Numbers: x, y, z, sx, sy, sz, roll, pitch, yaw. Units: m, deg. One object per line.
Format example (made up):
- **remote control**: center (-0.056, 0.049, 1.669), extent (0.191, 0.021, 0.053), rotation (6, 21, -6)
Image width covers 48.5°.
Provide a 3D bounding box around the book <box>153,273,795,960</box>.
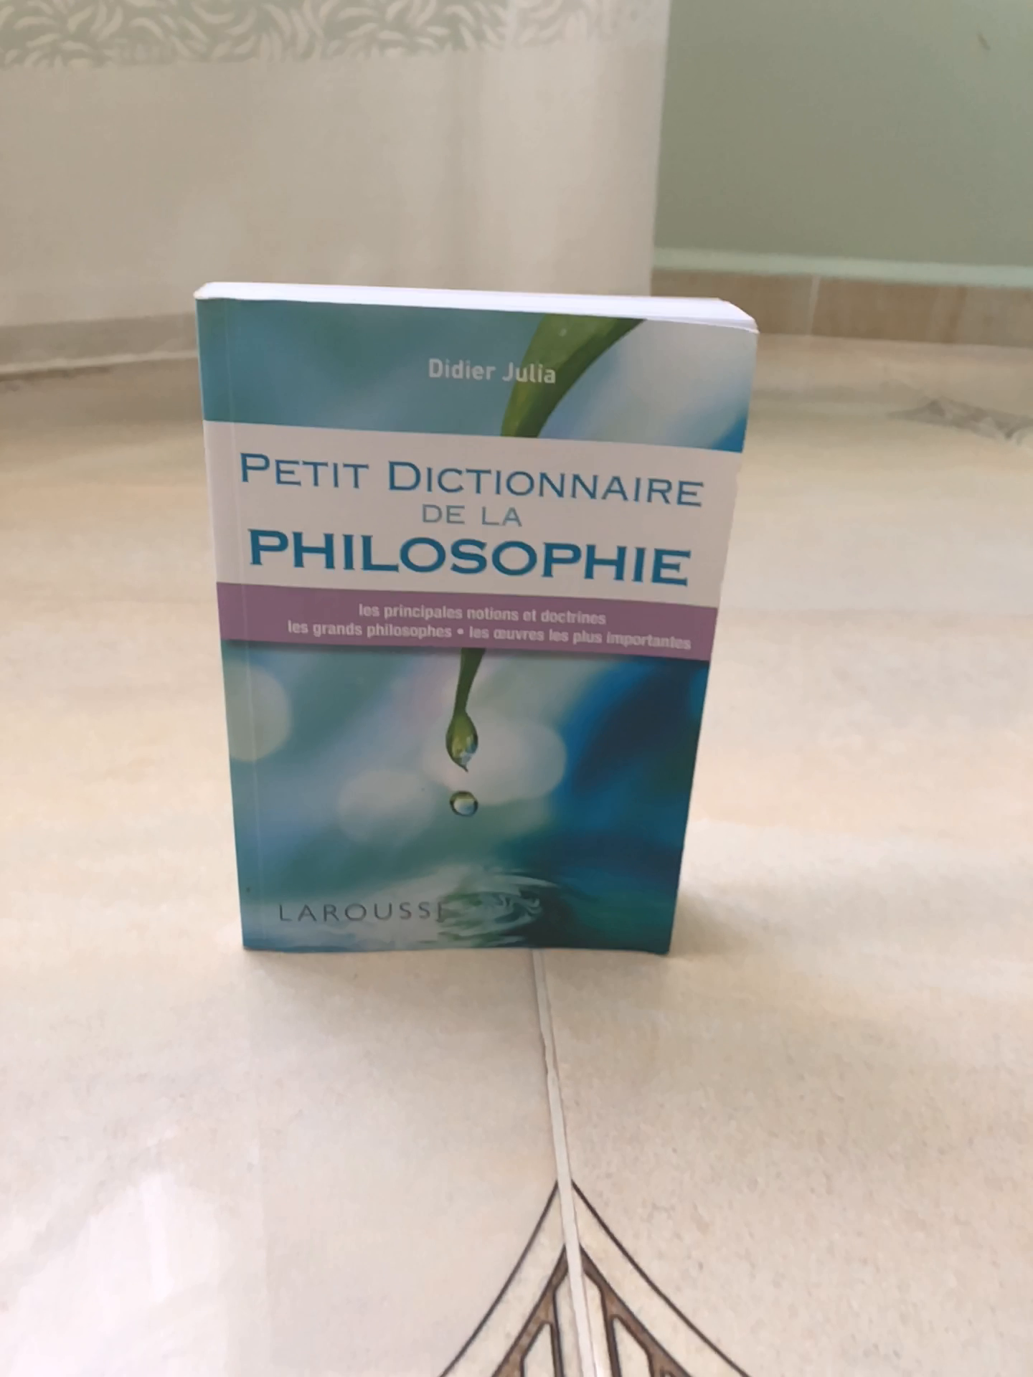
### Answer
- **book**: center (-0.012, -0.010, 0.310), extent (0.140, 0.185, 0.035), rotation (1, 28, -3)
